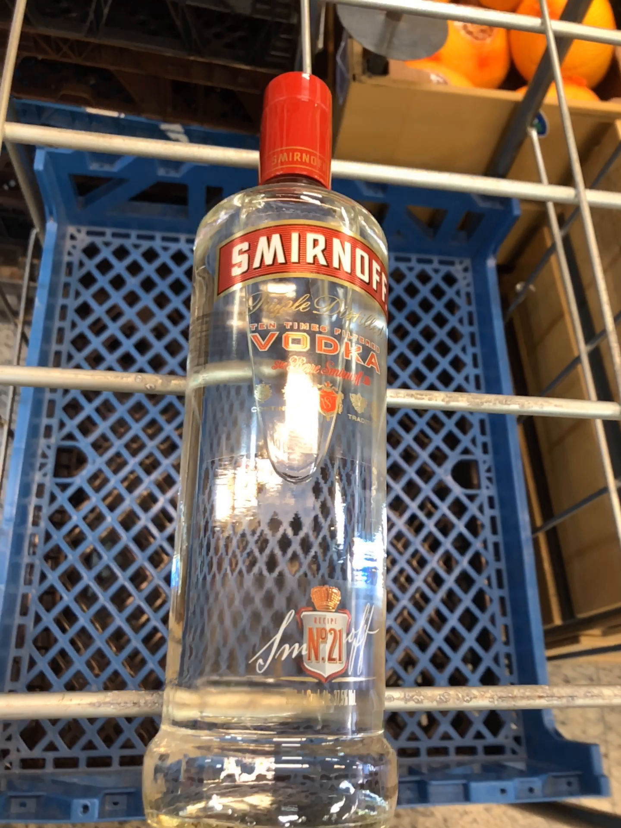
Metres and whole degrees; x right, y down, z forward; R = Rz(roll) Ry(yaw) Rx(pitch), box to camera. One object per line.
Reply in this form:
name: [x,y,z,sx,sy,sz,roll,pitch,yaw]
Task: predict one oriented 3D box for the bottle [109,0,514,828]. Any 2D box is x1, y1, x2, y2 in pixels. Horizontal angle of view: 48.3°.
bottle: [-0.005,-0.012,0.270,0.100,0.100,0.311,4,69,-9]
